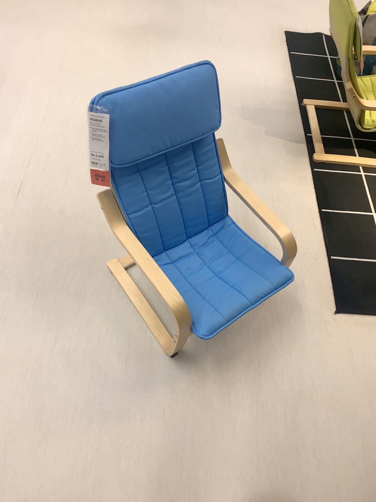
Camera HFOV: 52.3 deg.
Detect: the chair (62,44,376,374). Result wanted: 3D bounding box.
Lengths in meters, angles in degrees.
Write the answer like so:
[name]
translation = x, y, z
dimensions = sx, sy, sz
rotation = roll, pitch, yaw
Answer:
[chair]
translation = 0.050, -0.090, 1.102
dimensions = 0.510, 0.639, 0.501
rotation = -30, 64, -22
